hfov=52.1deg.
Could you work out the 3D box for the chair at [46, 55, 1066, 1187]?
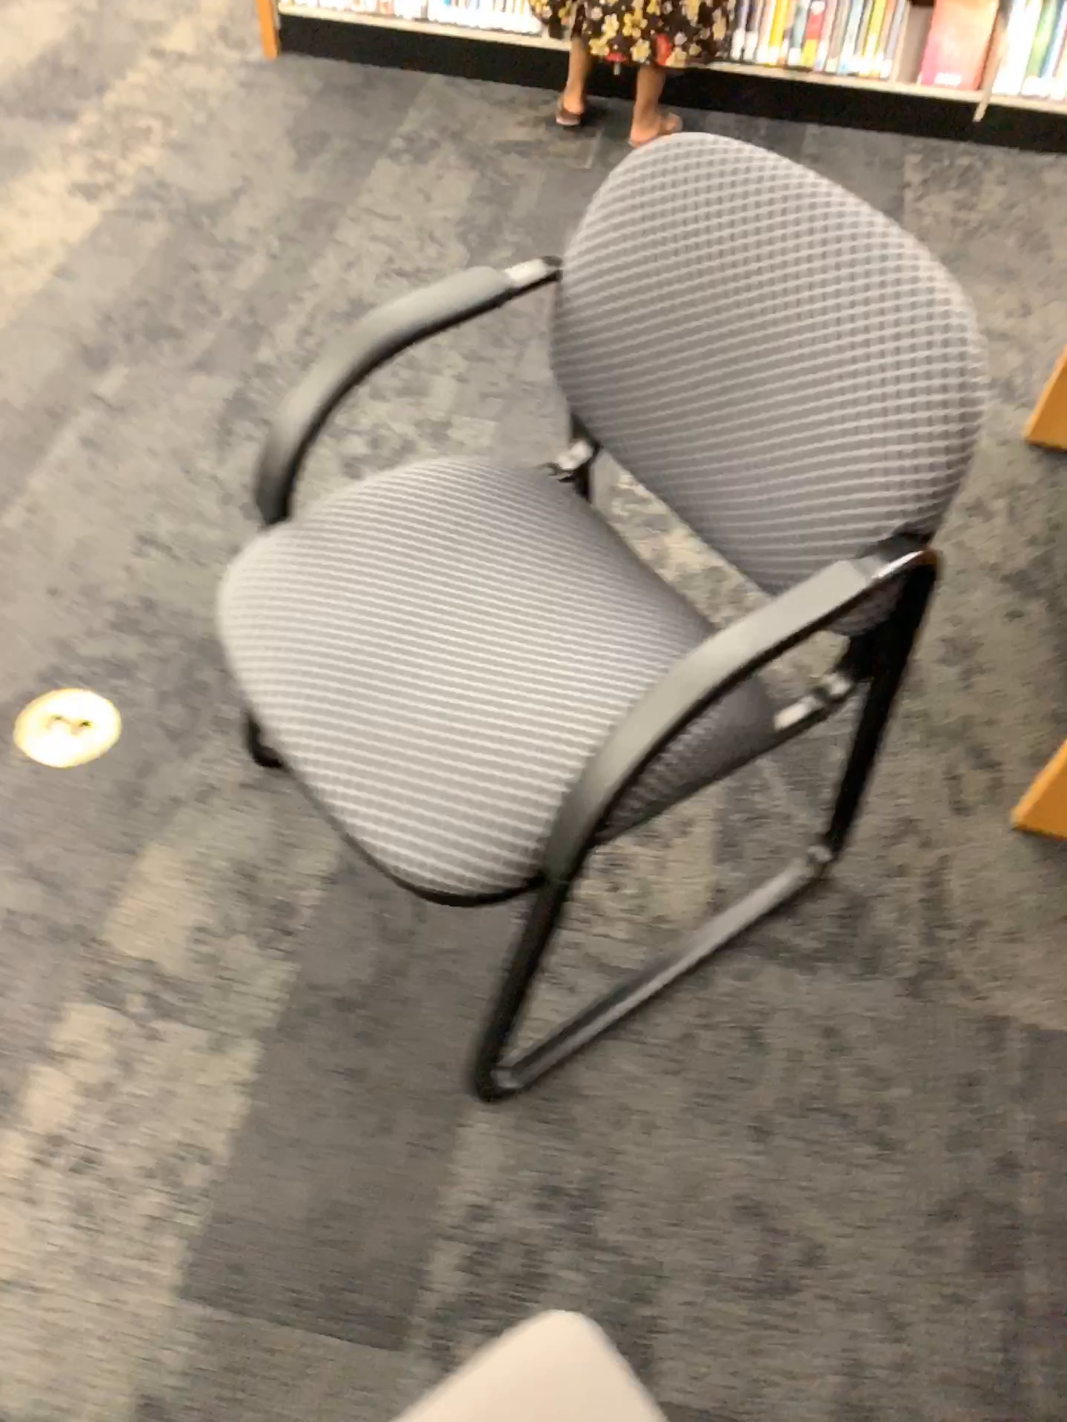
[{"bbox_3d":[0.073,-0.120,1.160,0.721,0.678,0.732,-28,59,-22],"label":"chair"}]
